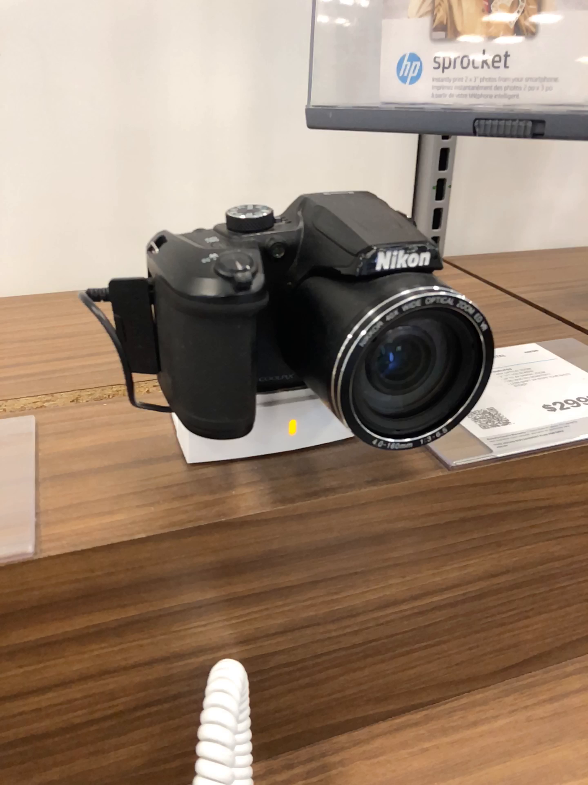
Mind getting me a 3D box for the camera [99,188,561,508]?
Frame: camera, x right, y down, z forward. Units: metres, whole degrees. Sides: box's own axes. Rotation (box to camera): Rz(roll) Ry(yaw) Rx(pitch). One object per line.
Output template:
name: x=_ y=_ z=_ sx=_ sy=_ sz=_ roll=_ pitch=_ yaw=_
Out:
camera: x=0.001 y=-0.033 z=0.257 sx=0.130 sy=0.070 sz=0.130 roll=-9 pitch=27 yaw=-19
